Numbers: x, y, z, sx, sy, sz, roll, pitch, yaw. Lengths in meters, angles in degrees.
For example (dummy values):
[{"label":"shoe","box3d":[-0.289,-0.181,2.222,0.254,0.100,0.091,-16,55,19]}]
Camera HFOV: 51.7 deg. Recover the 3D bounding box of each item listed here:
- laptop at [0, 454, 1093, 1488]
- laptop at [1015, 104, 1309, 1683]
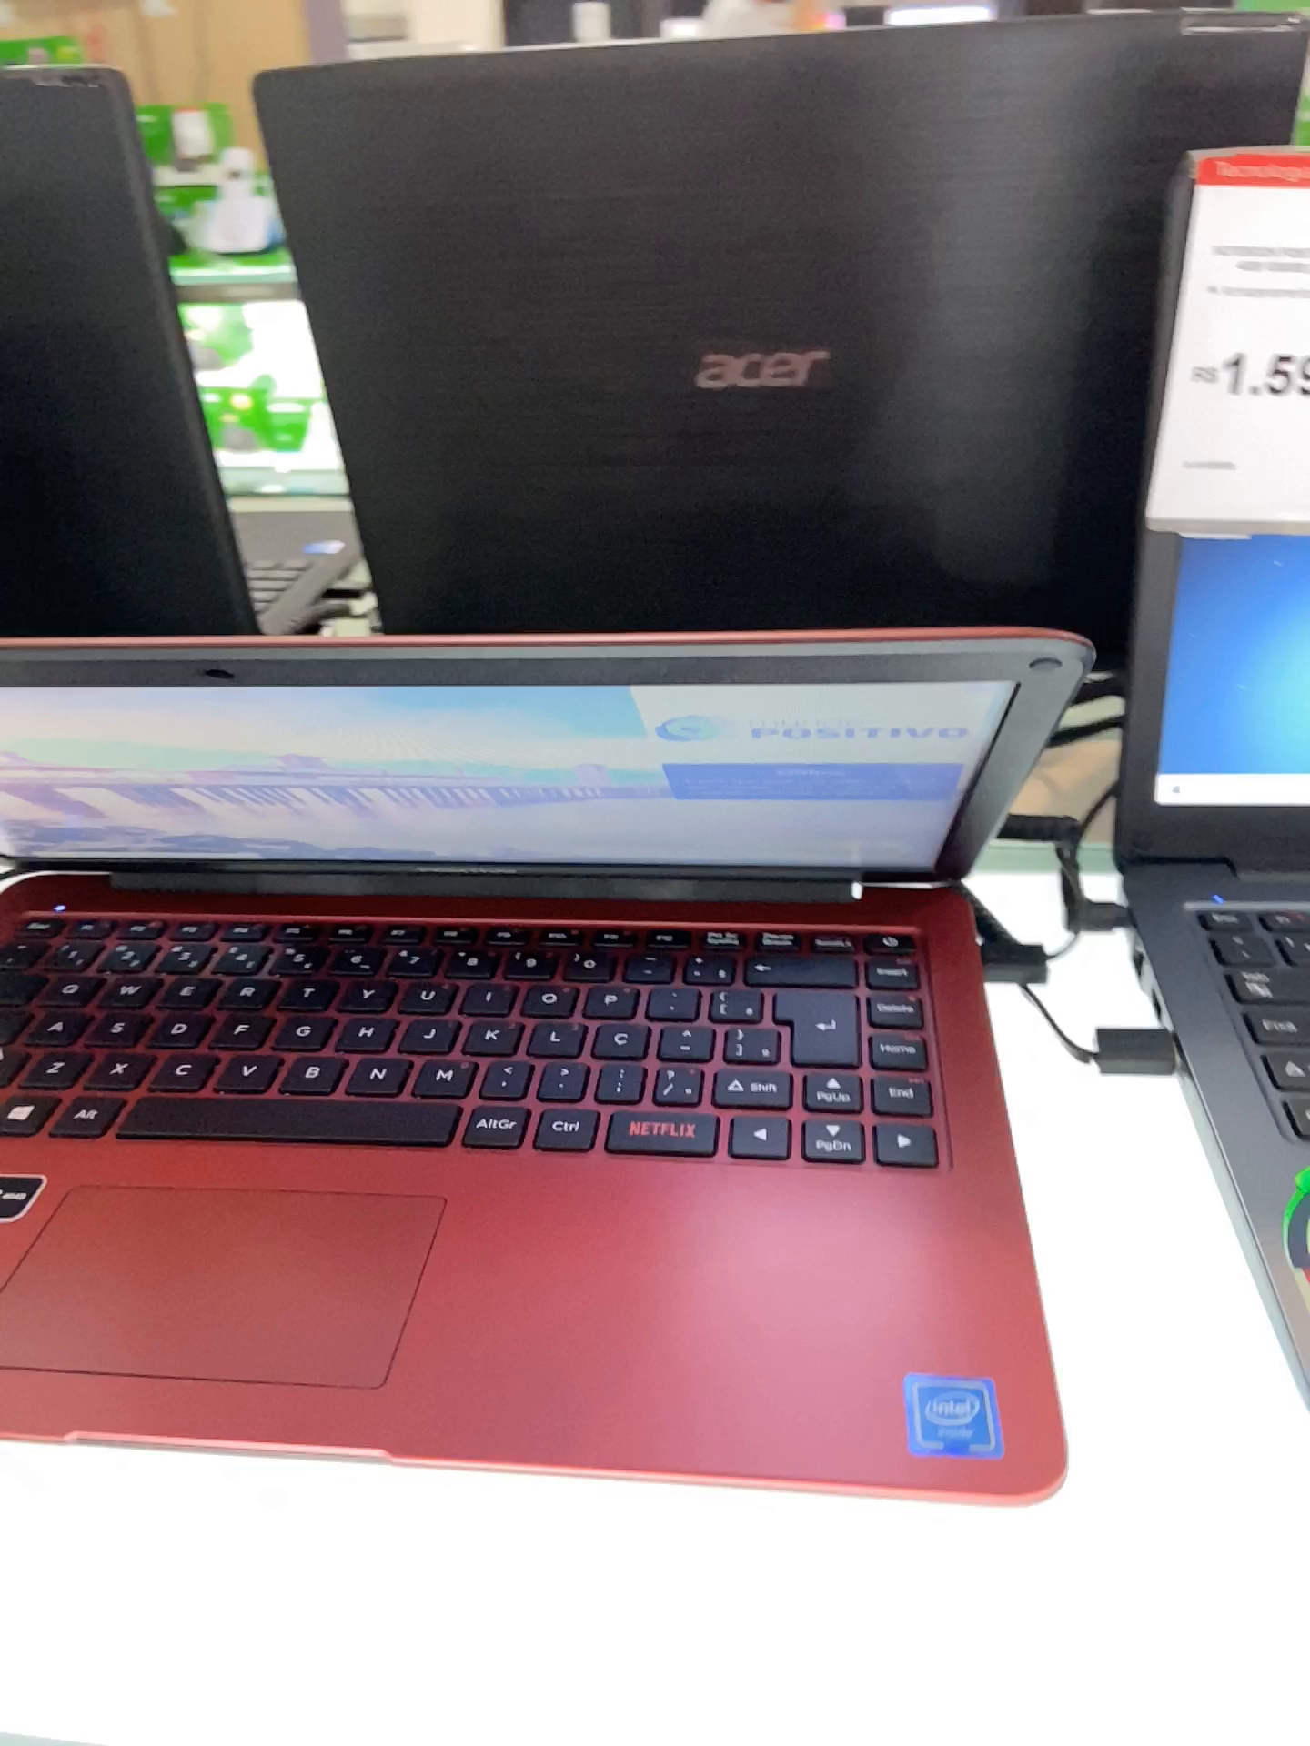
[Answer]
[{"label":"laptop","box3d":[-0.085,-0.002,0.331,0.320,0.144,0.213,1,29,7]},{"label":"laptop","box3d":[0.326,-0.046,0.304,0.384,0.207,0.278,1,31,3]}]
